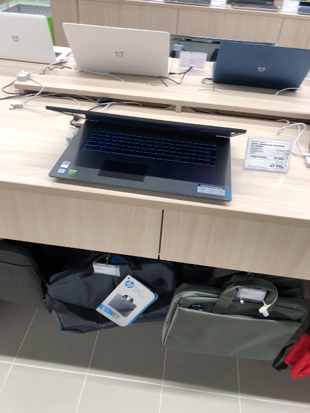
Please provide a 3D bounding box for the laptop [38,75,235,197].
[{"bbox_3d":[-0.021,-0.181,0.804,0.389,0.129,0.272,8,40,5],"label":"laptop"}]
